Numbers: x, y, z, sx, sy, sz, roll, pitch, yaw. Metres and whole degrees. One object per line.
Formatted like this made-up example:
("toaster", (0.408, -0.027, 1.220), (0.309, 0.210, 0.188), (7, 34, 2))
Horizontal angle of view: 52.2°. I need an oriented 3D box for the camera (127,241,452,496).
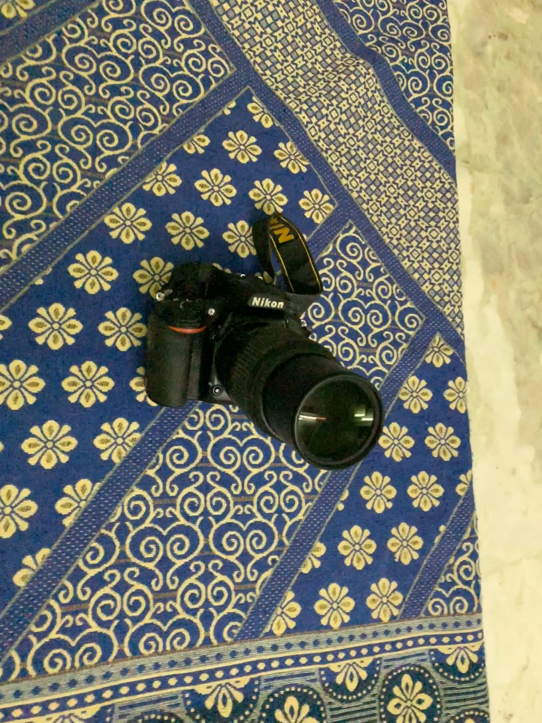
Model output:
("camera", (-0.005, 0.003, 0.400), (0.160, 0.191, 0.130), (5, 93, -22))
